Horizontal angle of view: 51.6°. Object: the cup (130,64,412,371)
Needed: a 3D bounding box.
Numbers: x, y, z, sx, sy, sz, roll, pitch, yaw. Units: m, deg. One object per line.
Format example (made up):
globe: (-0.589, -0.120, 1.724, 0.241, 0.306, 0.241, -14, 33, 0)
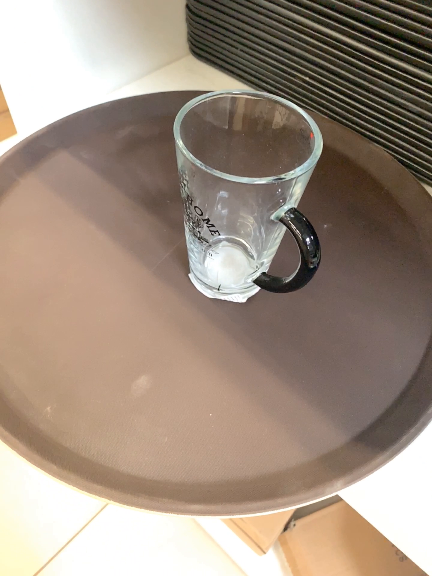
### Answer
cup: (0.023, -0.043, 0.281, 0.090, 0.120, 0.120, -30, 61, -23)
